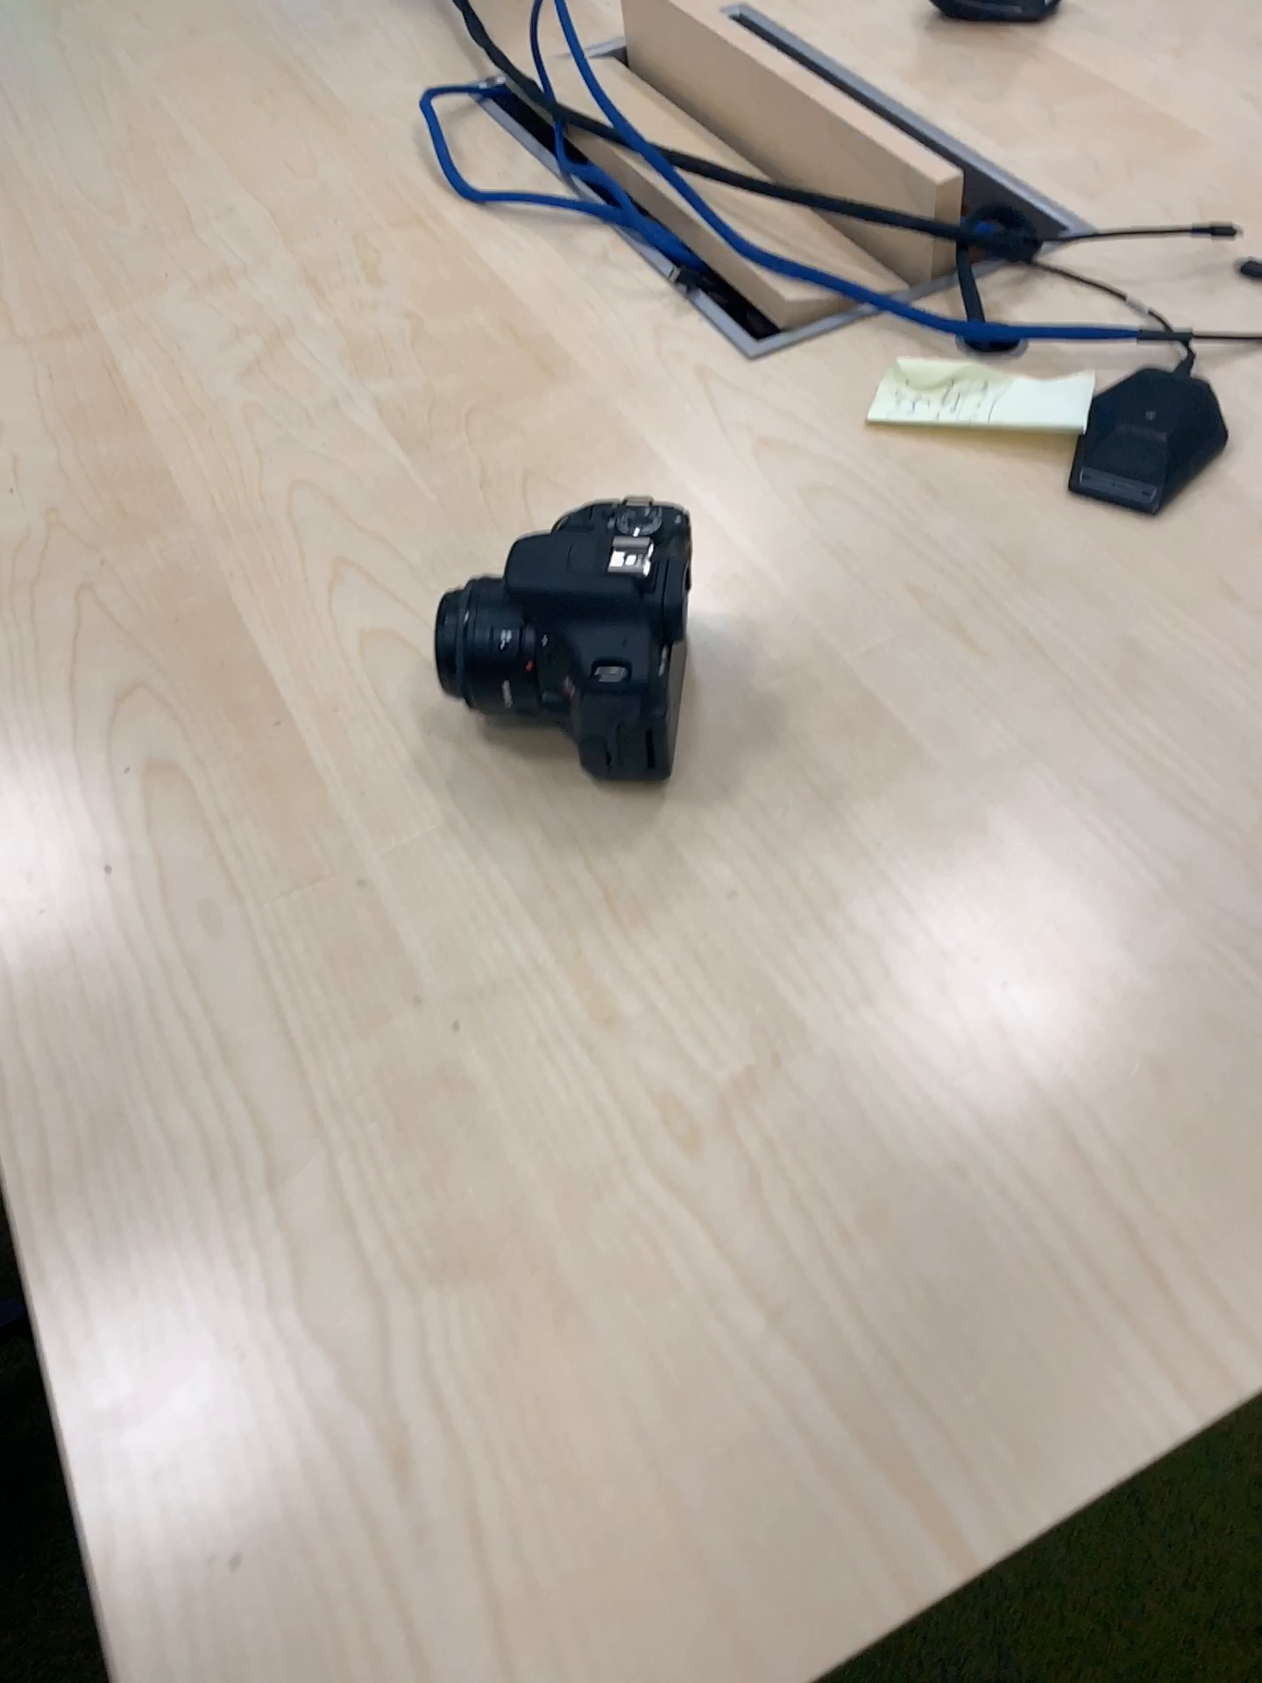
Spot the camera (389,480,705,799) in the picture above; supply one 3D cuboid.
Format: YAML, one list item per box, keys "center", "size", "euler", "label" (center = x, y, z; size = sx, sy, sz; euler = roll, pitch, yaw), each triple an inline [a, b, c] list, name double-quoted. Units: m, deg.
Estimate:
- center: [-0.033, -0.099, 0.625]
  size: [0.127, 0.085, 0.130]
  euler: [2, 53, 7]
  label: "camera"
